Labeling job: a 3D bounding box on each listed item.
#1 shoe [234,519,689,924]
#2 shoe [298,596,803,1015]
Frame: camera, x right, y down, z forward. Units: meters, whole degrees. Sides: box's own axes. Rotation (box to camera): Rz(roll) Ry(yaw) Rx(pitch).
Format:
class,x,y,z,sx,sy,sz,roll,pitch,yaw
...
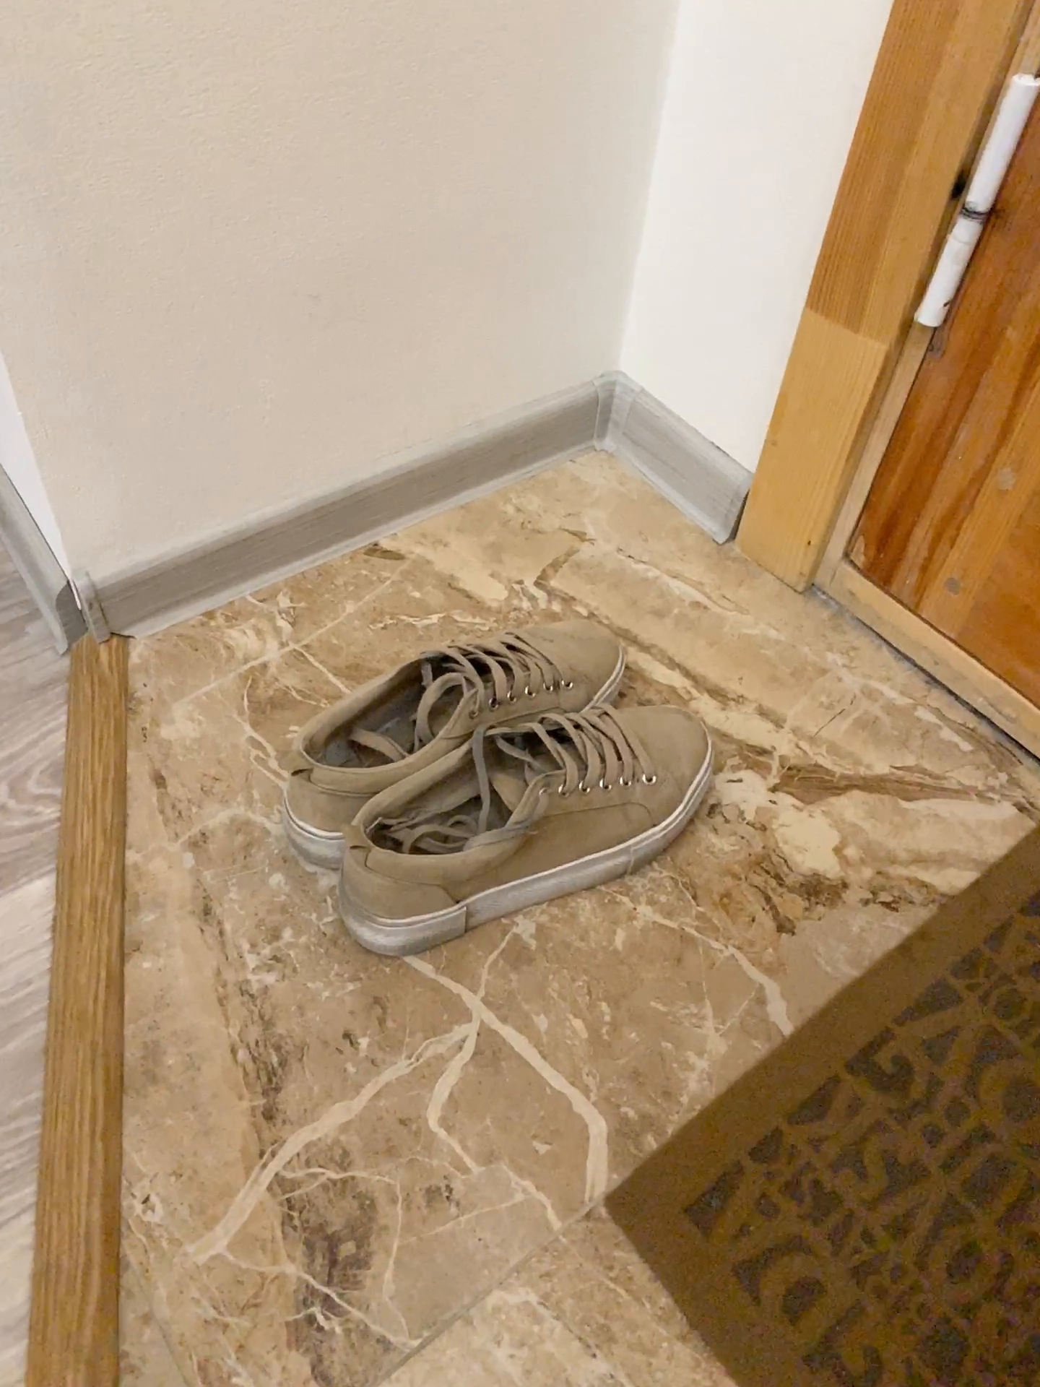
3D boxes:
class,x,y,z,sx,sy,sz,roll,pitch,yaw
shoe,-0.027,0.008,0.608,0.240,0.100,0.090,-31,58,-29
shoe,0.017,0.052,0.562,0.240,0.100,0.090,-24,55,-24
